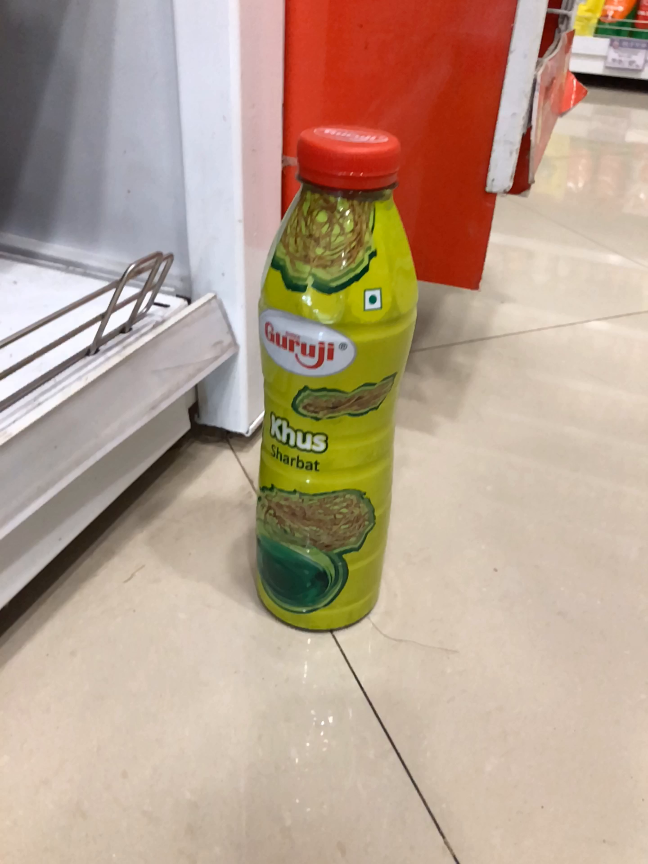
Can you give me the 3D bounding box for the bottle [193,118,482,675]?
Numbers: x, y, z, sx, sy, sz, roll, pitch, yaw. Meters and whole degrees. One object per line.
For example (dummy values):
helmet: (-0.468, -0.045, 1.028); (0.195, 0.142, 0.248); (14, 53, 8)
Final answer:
bottle: (0.002, -0.009, 0.340); (0.080, 0.238, 0.081); (2, 34, -1)
